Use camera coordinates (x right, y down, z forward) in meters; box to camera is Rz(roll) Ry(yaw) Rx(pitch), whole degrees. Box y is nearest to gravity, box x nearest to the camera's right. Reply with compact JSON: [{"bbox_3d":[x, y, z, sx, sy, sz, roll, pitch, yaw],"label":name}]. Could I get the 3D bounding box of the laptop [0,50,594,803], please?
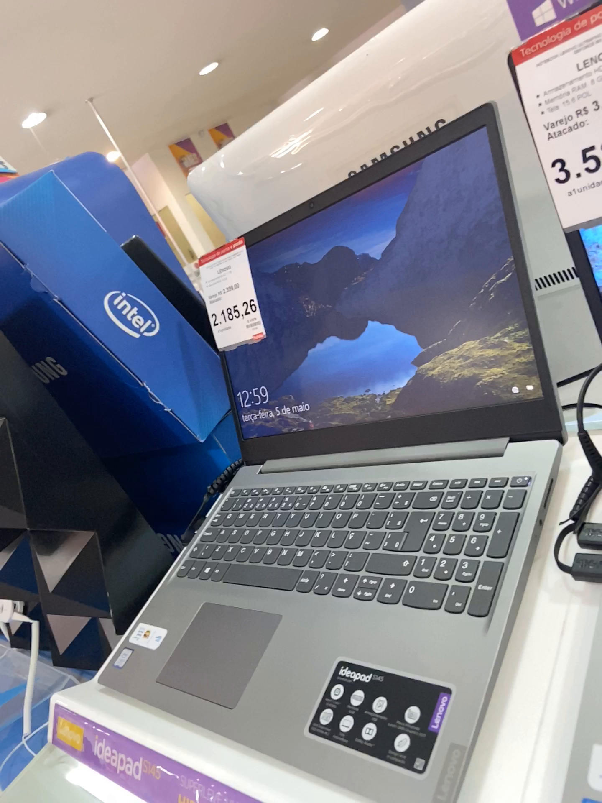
[{"bbox_3d":[-0.023,-0.006,0.492,0.358,0.212,0.388,-12,33,46],"label":"laptop"}]
